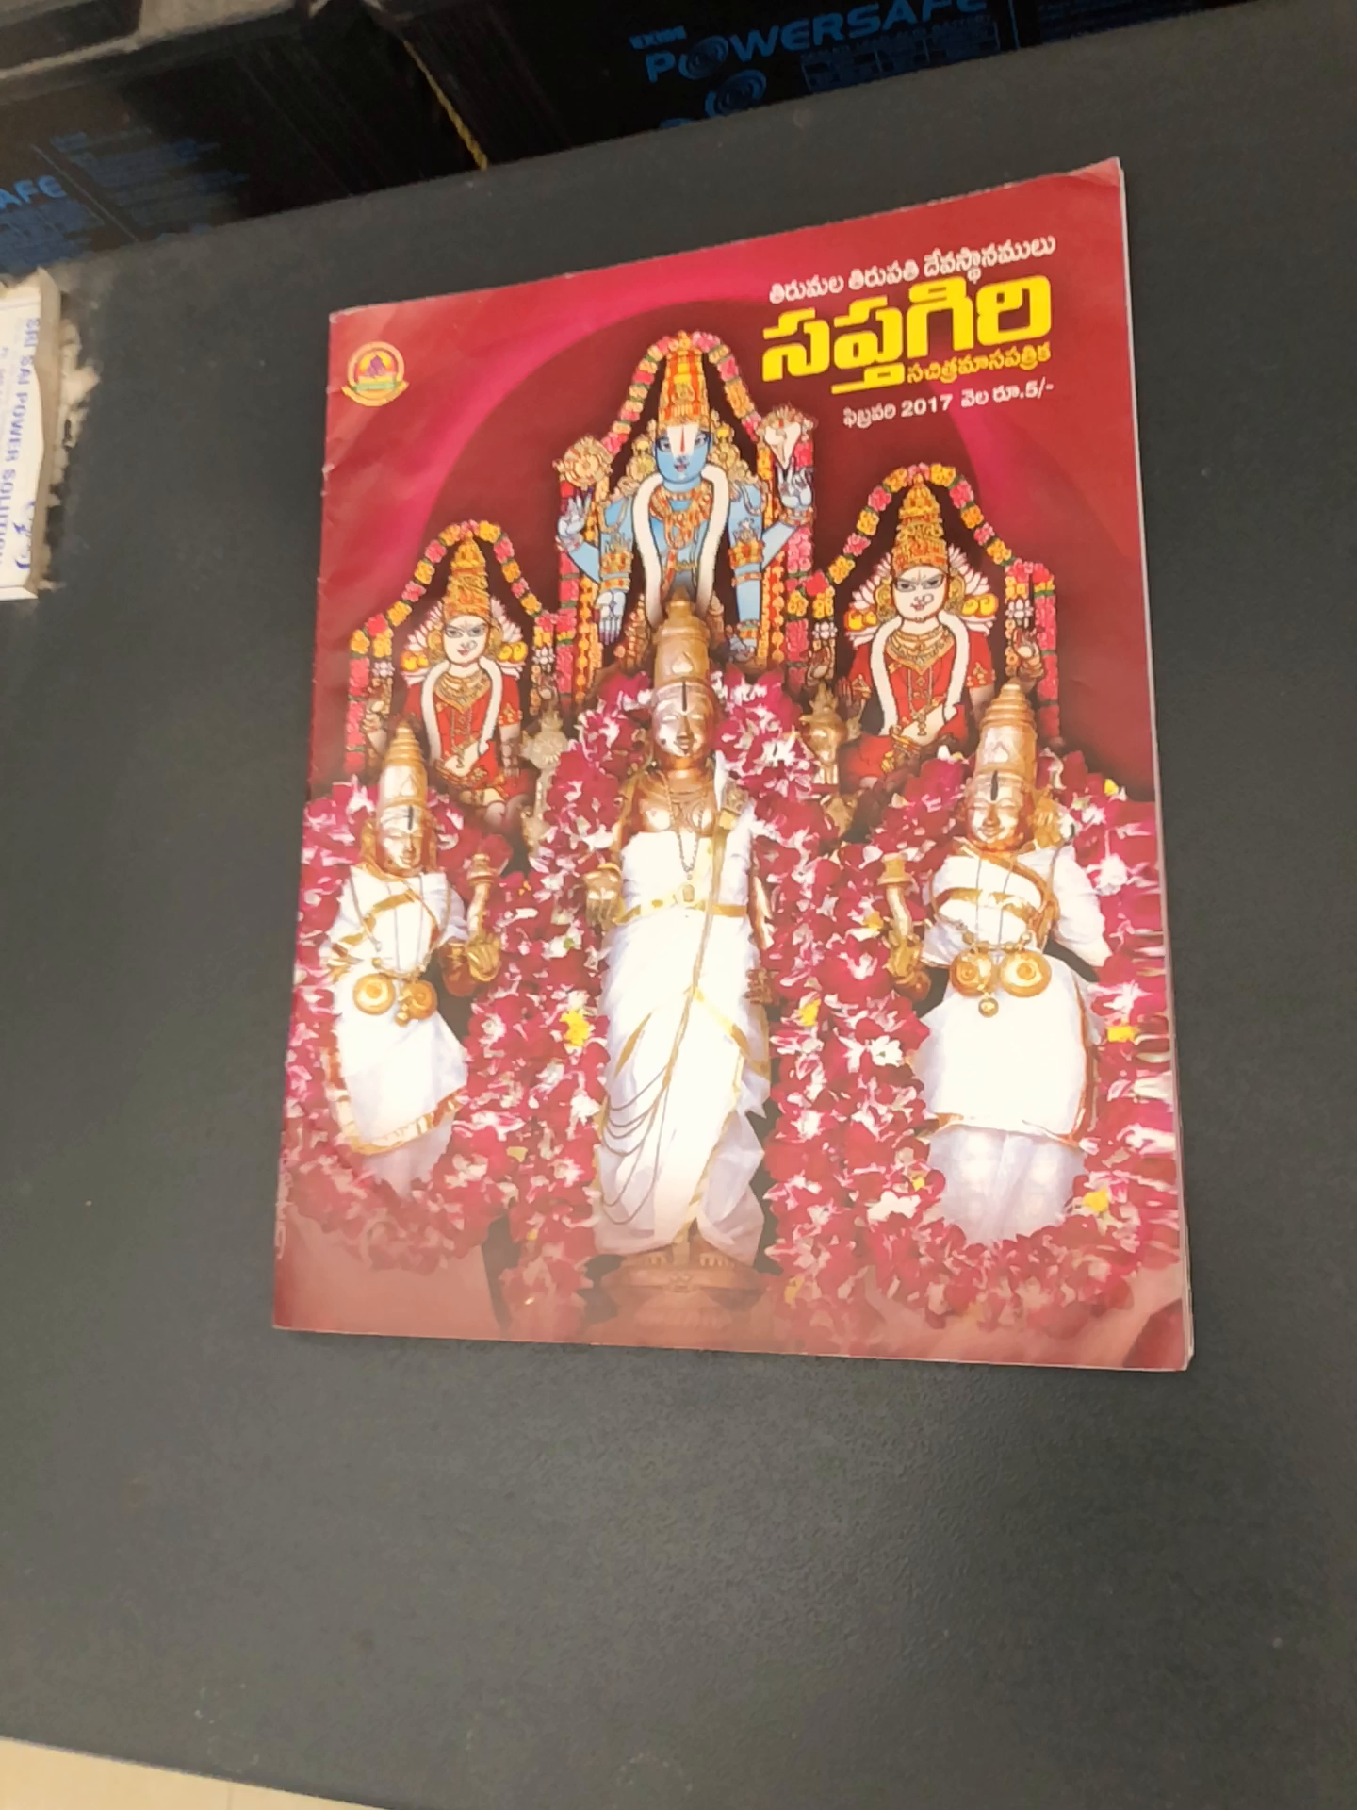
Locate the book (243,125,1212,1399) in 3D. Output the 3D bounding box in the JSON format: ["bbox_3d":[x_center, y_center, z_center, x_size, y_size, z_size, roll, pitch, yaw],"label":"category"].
[{"bbox_3d":[0.006,-0.031,0.340,0.200,0.030,0.260,-4,77,19],"label":"book"}]
